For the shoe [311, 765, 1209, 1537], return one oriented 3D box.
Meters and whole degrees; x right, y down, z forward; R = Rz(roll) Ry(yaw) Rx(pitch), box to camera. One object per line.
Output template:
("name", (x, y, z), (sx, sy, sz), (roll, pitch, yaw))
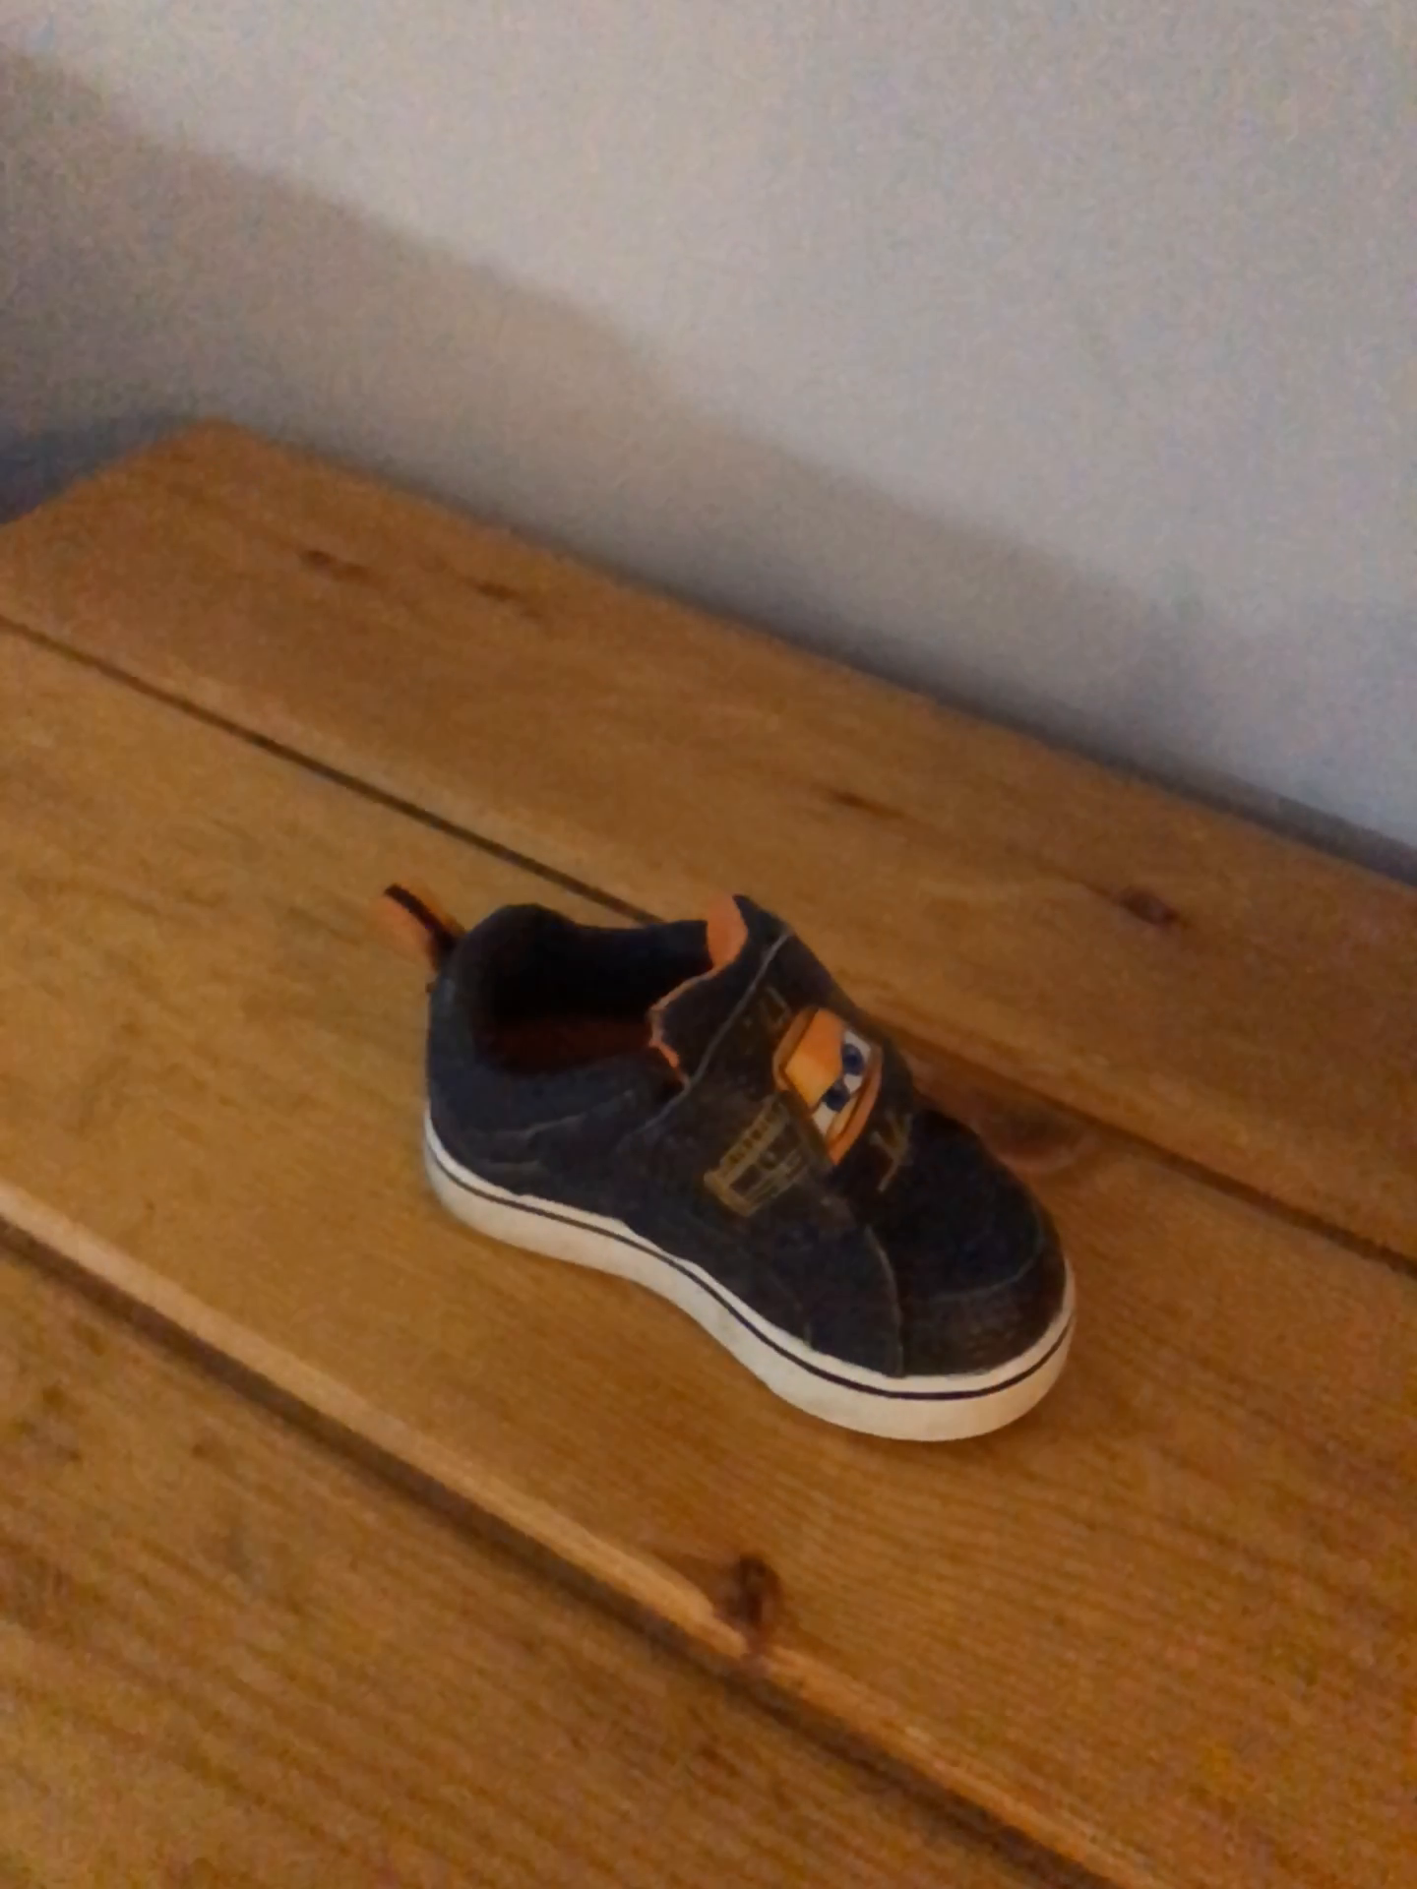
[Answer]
("shoe", (0.006, 0.037, 0.327), (0.160, 0.070, 0.070), (25, 46, 16))
